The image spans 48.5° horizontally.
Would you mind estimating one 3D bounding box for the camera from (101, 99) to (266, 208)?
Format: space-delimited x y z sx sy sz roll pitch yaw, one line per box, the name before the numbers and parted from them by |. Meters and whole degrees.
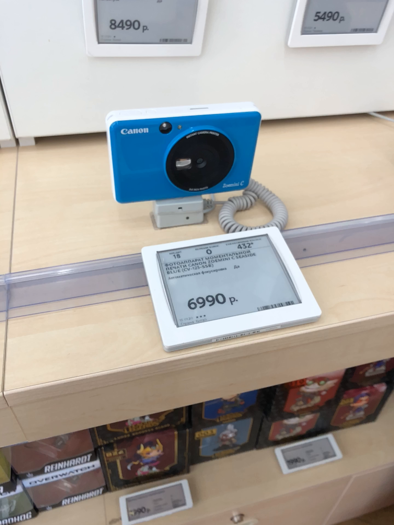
camera | -0.011 -0.086 0.350 0.119 0.072 0.025 -9 49 -12
